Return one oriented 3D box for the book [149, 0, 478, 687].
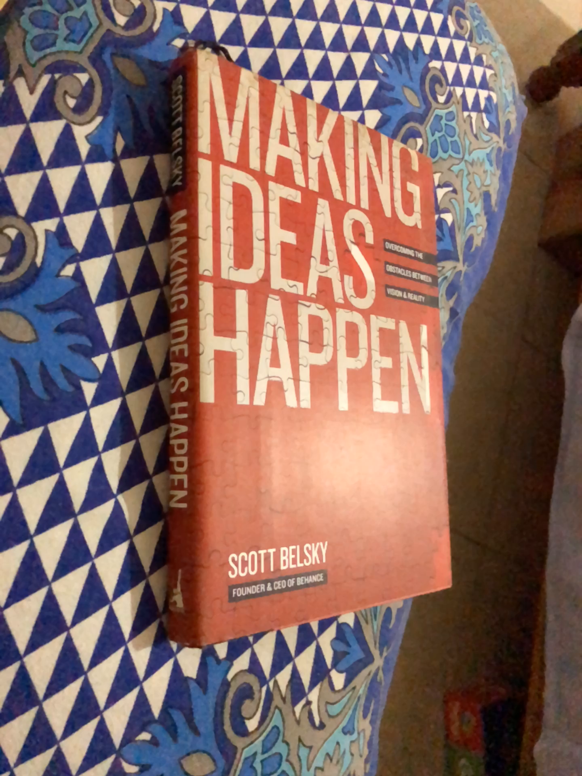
[{"bbox_3d":[0.018,-0.018,0.291,0.161,0.030,0.250,7,78,-40],"label":"book"}]
